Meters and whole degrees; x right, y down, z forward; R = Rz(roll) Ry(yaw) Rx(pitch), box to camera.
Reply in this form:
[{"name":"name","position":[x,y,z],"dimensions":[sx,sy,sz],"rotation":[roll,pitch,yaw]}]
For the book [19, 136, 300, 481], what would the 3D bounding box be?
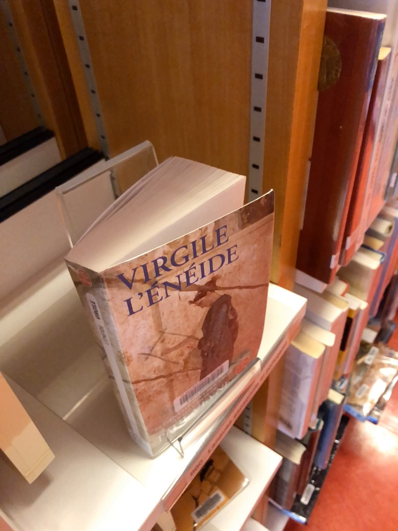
[{"name":"book","position":[-0.011,0.029,0.287],"dimensions":[0.073,0.168,0.132],"rotation":[32,54,34]}]
